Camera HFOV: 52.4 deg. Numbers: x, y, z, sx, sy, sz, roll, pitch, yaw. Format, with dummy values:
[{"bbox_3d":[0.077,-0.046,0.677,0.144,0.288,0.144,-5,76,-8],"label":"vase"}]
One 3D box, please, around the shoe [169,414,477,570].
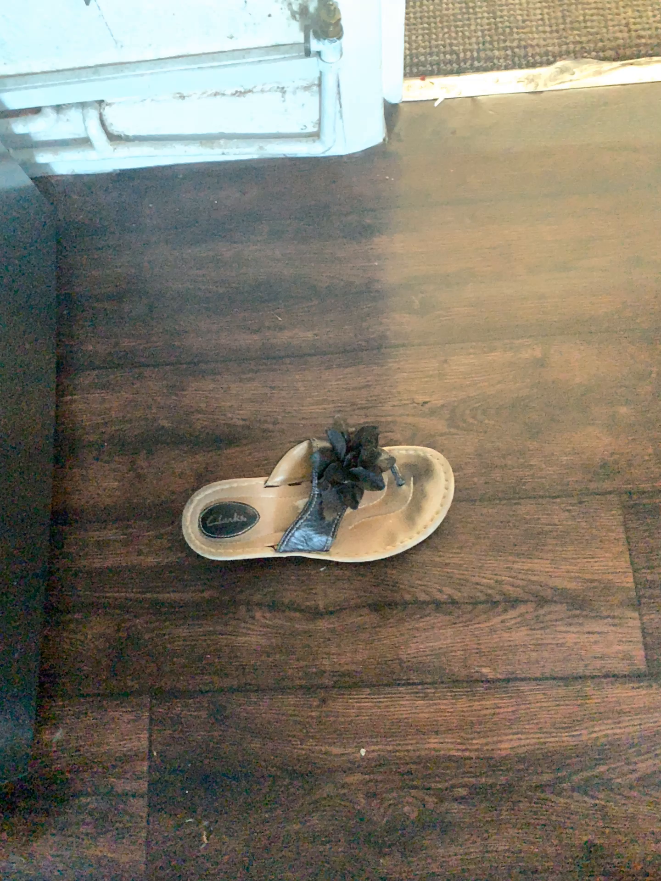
[{"bbox_3d":[-0.009,0.046,0.582,0.250,0.050,0.110,-4,74,4],"label":"shoe"}]
